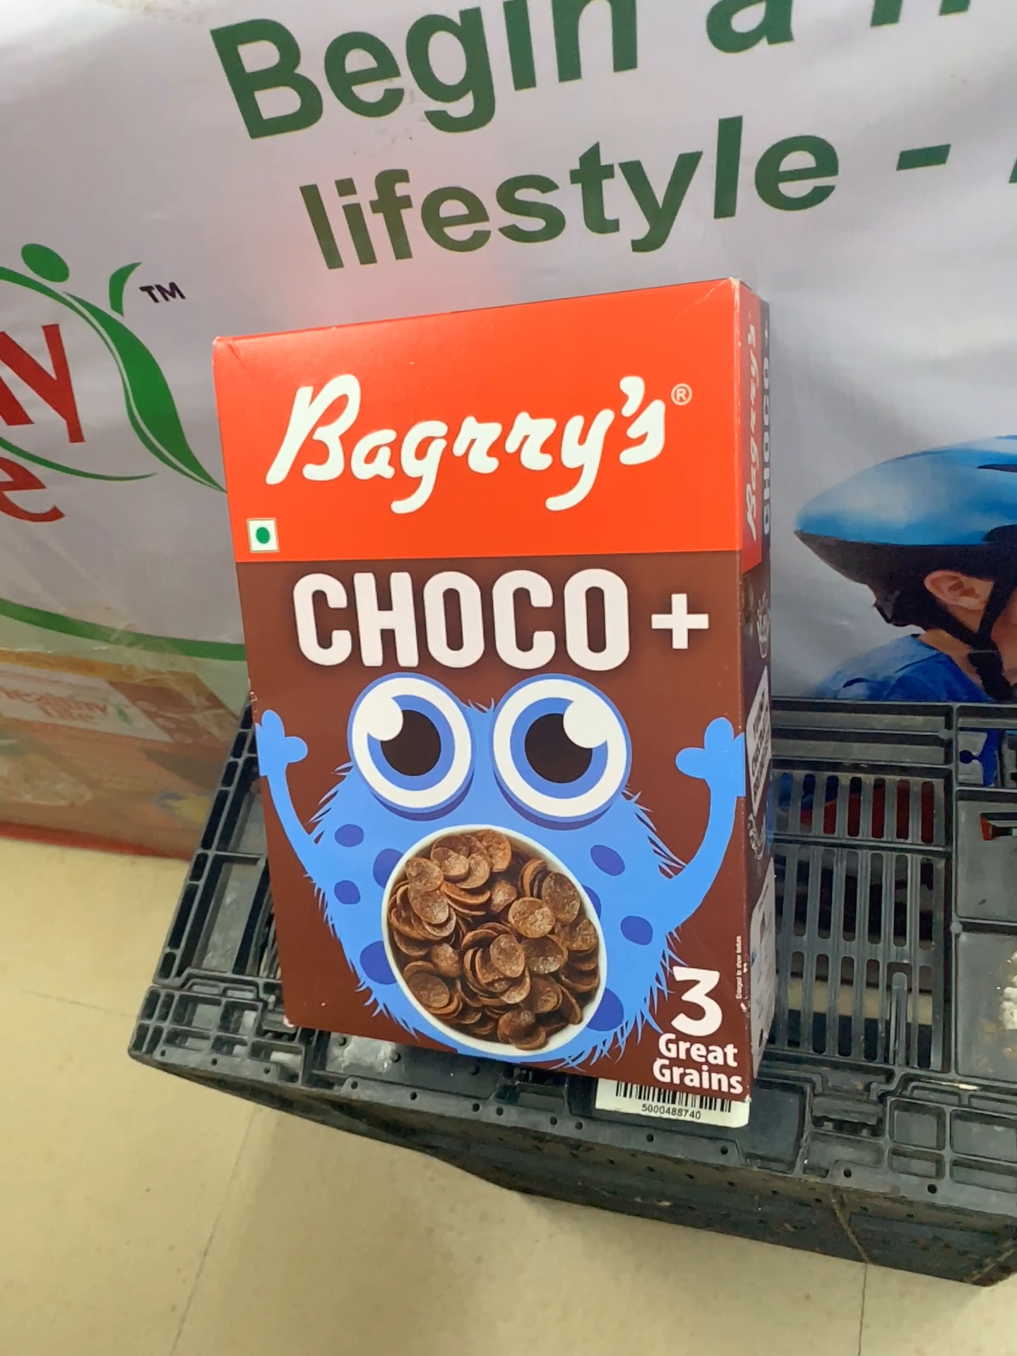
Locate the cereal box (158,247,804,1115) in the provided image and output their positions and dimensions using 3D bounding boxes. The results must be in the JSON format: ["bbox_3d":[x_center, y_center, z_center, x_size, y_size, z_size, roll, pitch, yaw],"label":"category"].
[{"bbox_3d":[-0.003,0.000,0.355,0.190,0.080,0.240,2,102,22],"label":"cereal box"}]
